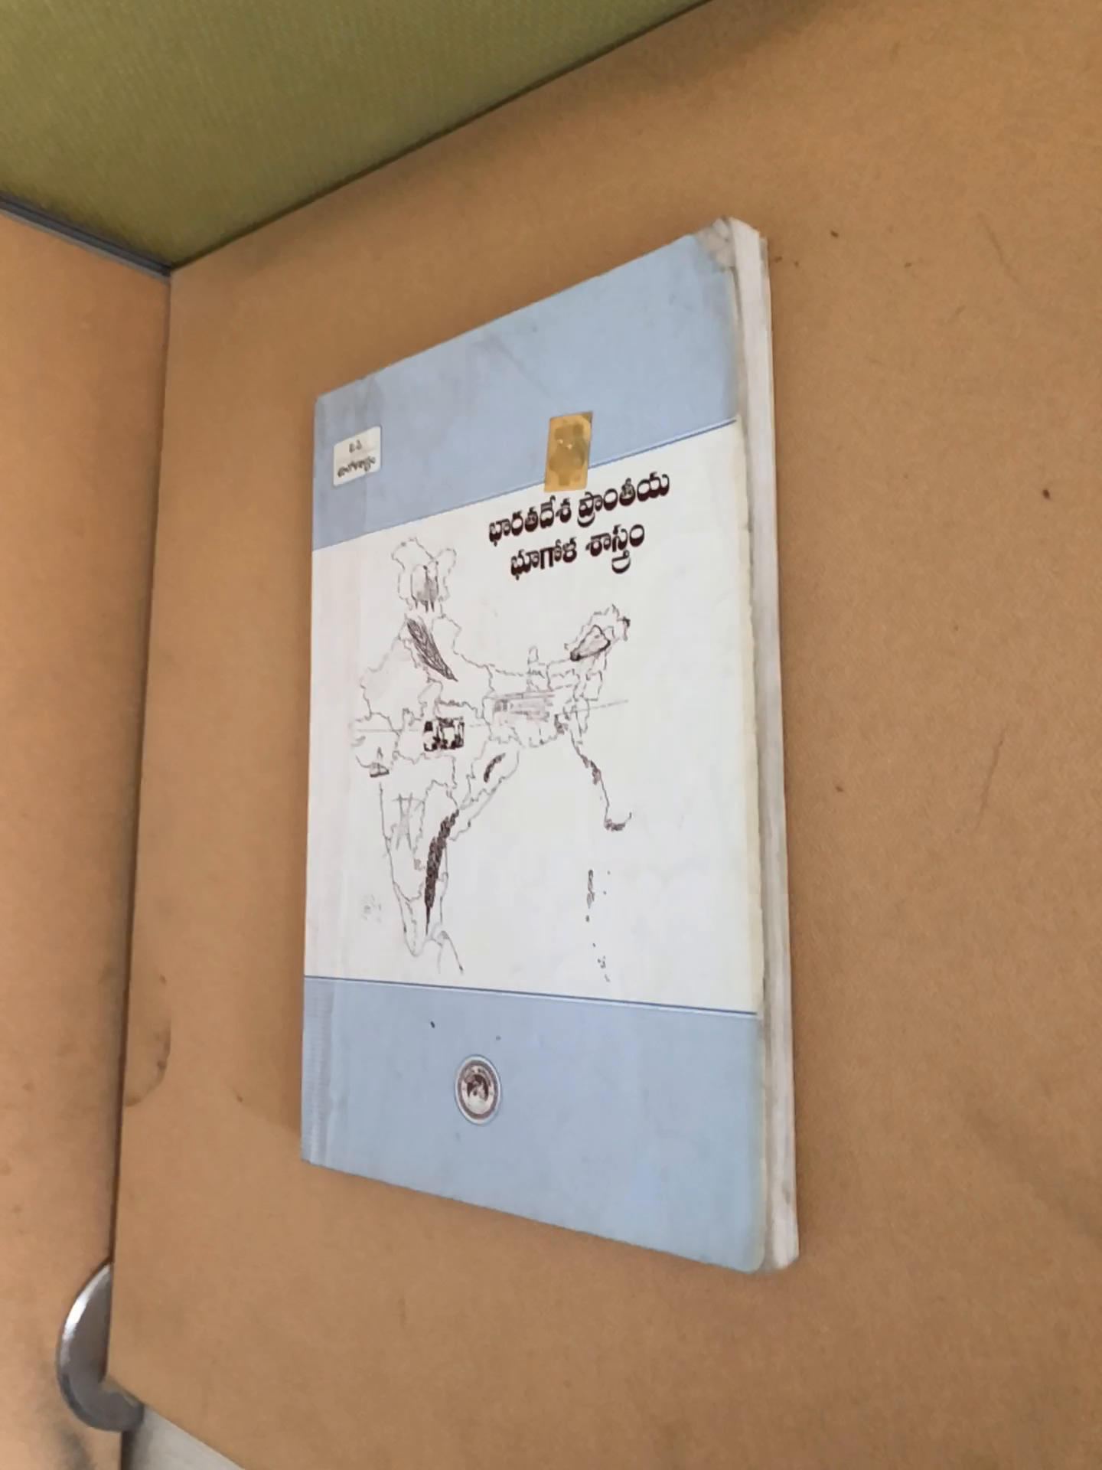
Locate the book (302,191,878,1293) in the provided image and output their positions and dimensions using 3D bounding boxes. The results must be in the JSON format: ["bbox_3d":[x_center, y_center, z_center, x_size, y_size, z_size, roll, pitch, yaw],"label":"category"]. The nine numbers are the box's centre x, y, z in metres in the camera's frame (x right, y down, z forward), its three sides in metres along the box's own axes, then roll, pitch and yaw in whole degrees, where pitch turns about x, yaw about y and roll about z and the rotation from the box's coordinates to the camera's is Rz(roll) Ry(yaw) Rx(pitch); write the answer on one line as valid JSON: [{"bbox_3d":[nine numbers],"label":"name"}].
[{"bbox_3d":[-0.001,0.003,0.347,0.181,0.030,0.250,-6,81,42],"label":"book"}]
